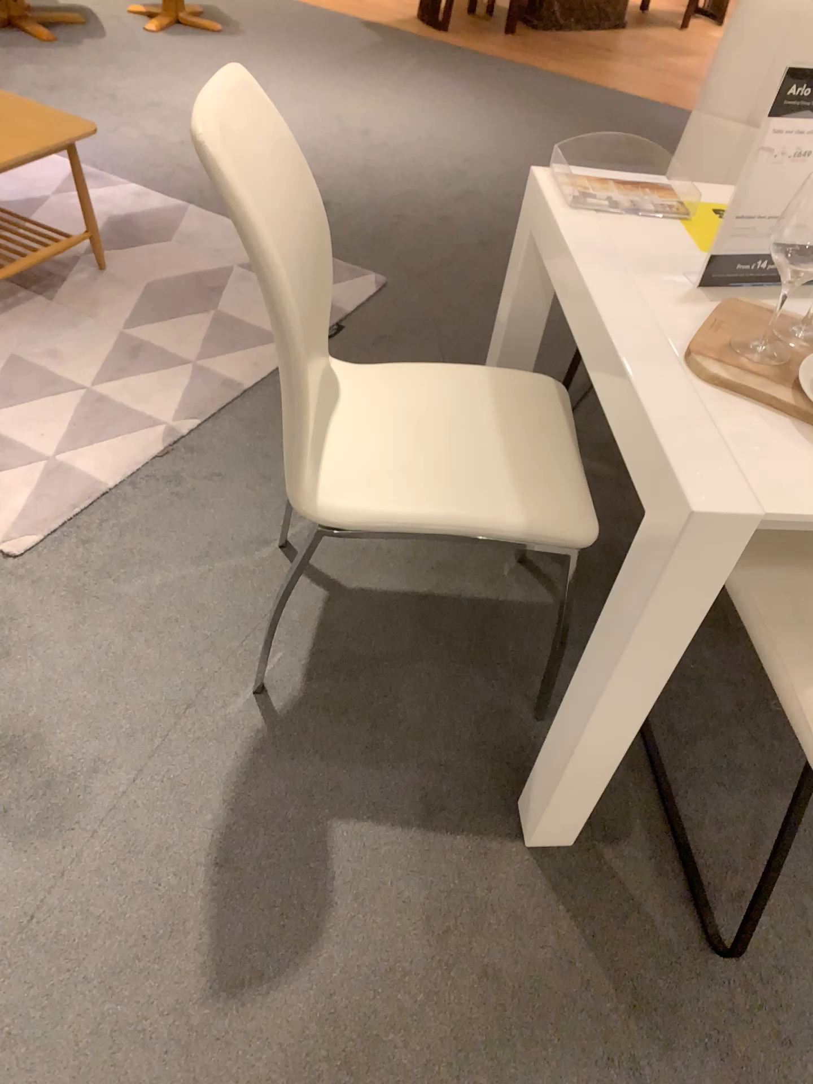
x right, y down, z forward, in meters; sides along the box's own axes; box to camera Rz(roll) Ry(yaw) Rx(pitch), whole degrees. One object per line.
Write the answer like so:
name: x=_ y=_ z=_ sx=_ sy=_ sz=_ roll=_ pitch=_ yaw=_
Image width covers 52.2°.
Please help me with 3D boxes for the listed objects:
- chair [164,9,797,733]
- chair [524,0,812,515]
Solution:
chair: x=0.018 y=-0.183 z=1.285 sx=0.609 sy=0.937 sz=0.492 roll=3 pitch=44 yaw=-6
chair: x=0.693 y=-0.648 z=1.843 sx=0.478 sy=0.907 sz=0.573 roll=27 pitch=47 yaw=17
